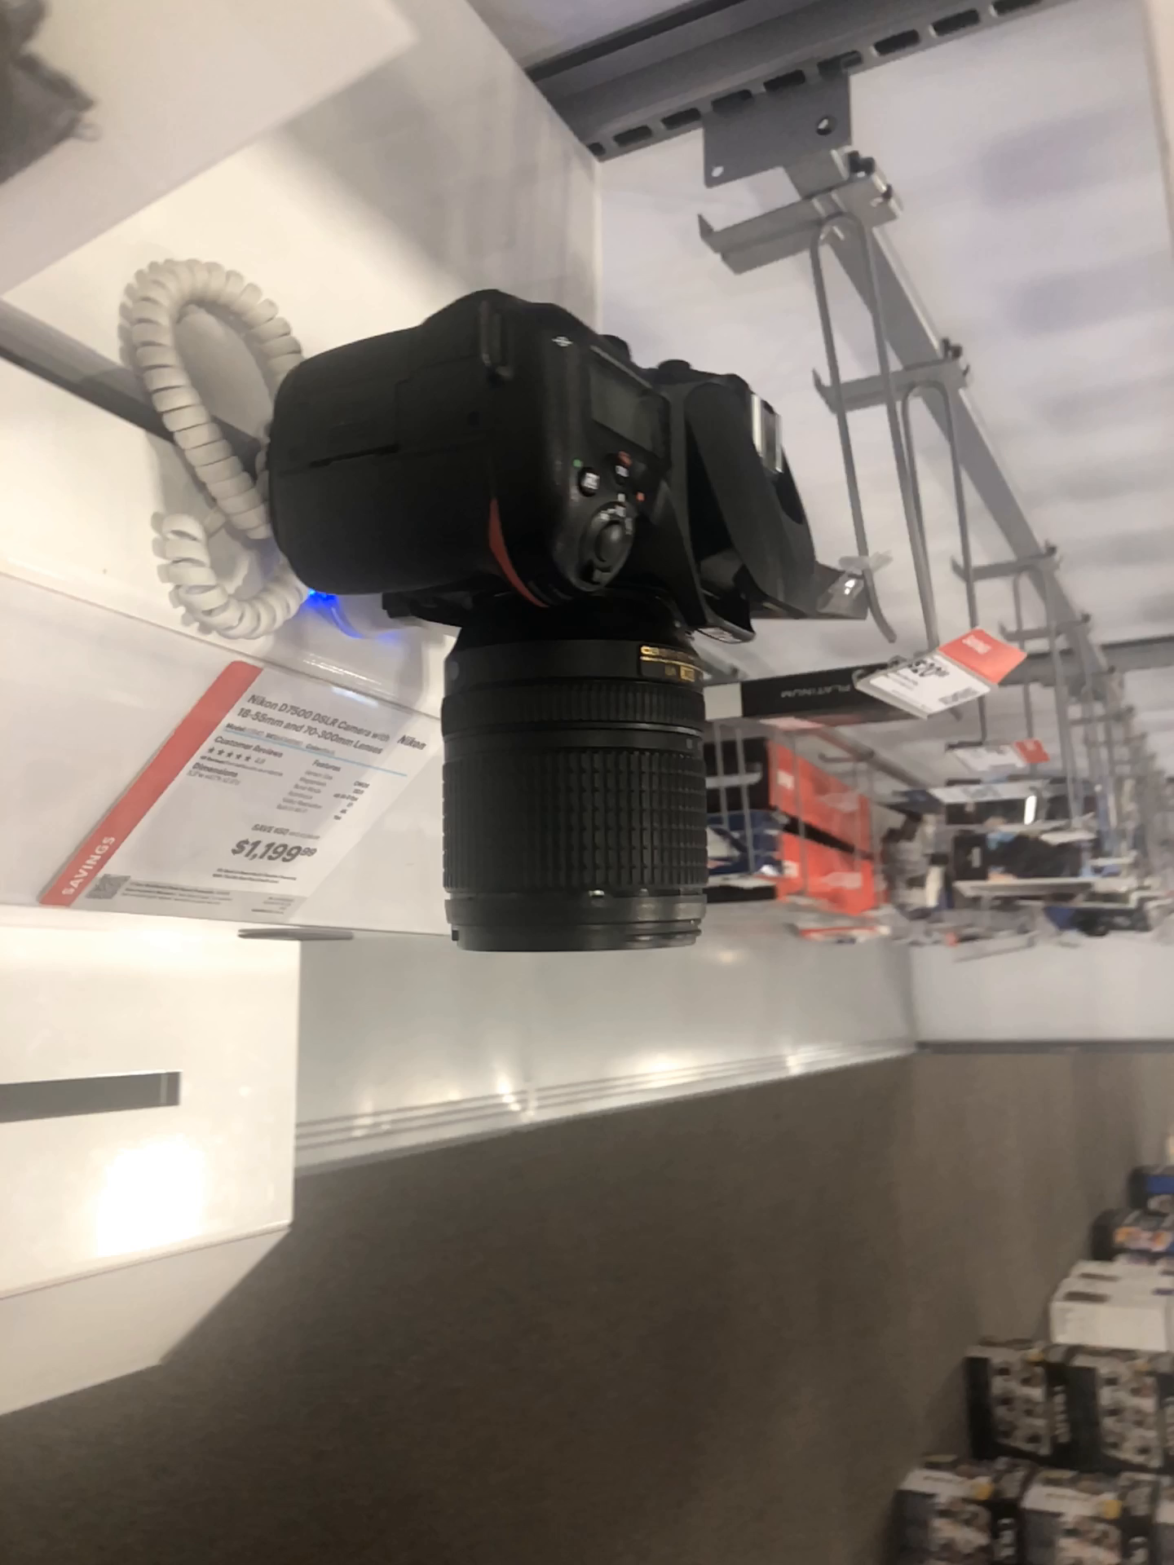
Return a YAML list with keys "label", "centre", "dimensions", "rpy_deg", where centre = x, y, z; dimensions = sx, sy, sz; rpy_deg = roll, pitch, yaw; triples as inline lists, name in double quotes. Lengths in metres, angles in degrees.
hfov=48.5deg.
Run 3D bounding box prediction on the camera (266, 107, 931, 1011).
- label: "camera"
  centre: [0.011, -0.040, 0.364]
  dimensions: [0.151, 0.119, 0.190]
  rpy_deg: [8, 77, -63]
